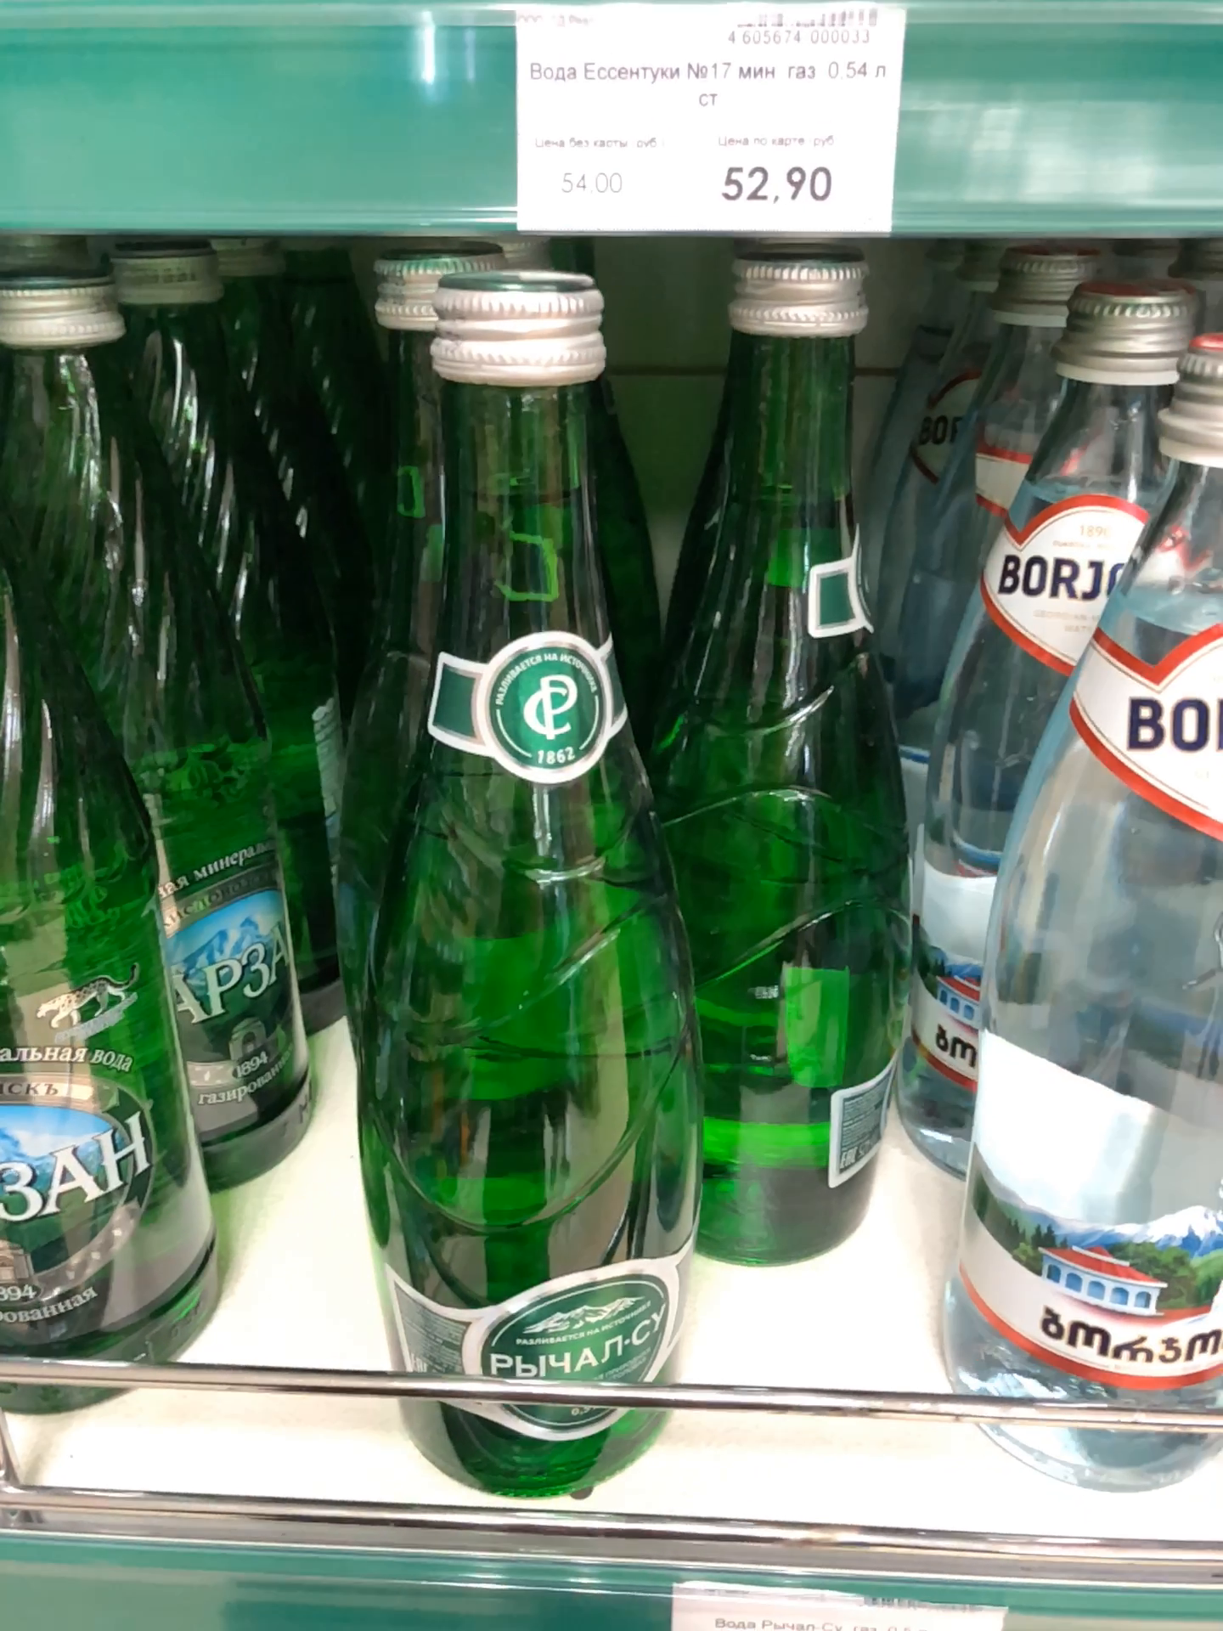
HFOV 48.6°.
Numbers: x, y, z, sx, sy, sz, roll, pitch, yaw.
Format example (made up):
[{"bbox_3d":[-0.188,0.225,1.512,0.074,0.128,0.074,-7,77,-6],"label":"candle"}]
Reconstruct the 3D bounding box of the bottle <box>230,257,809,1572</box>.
[{"bbox_3d":[-0.018,0.027,0.281,0.080,0.259,0.070,-9,27,-18],"label":"bottle"}]
